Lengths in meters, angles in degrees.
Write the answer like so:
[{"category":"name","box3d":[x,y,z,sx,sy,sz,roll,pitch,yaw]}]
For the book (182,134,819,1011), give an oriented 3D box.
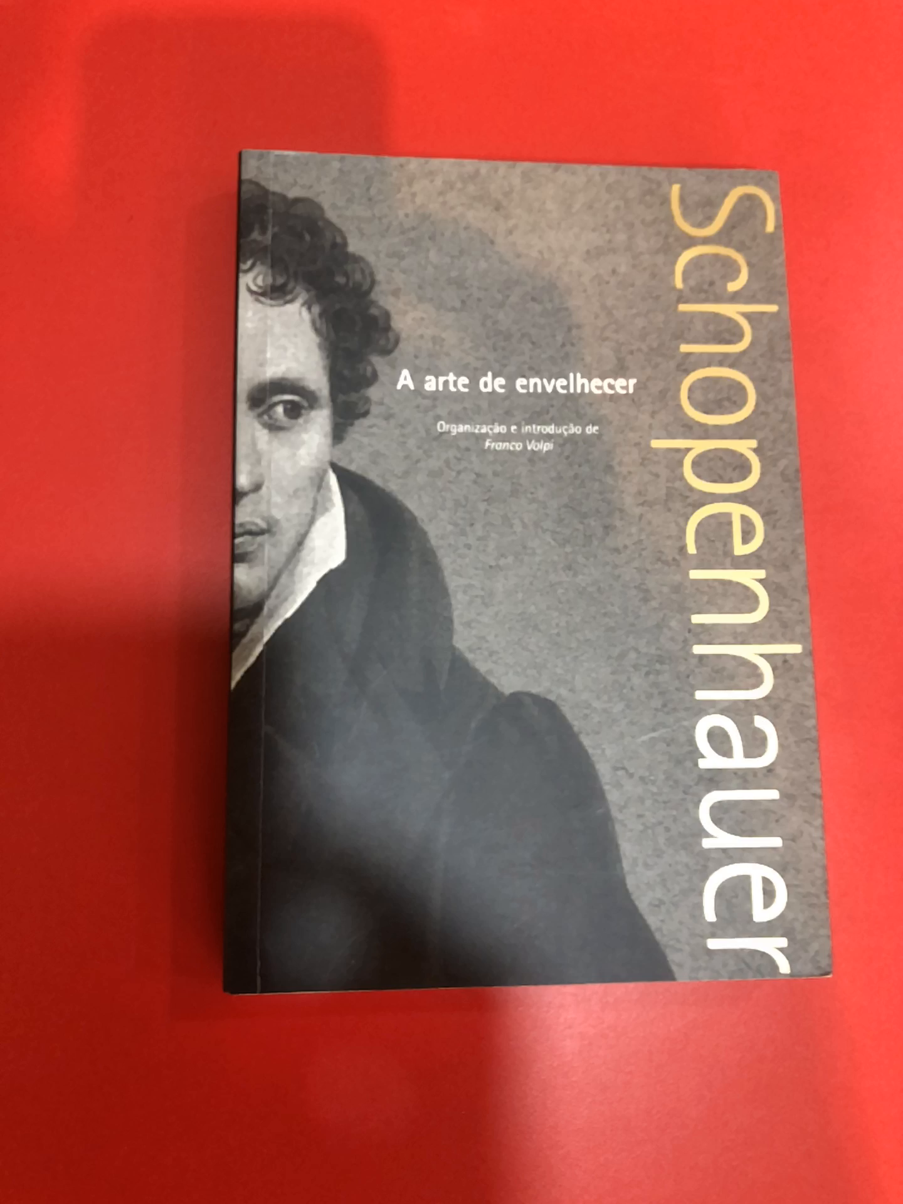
[{"category":"book","box3d":[0.011,-0.011,0.237,0.137,0.017,0.196,0,82,-5]}]
